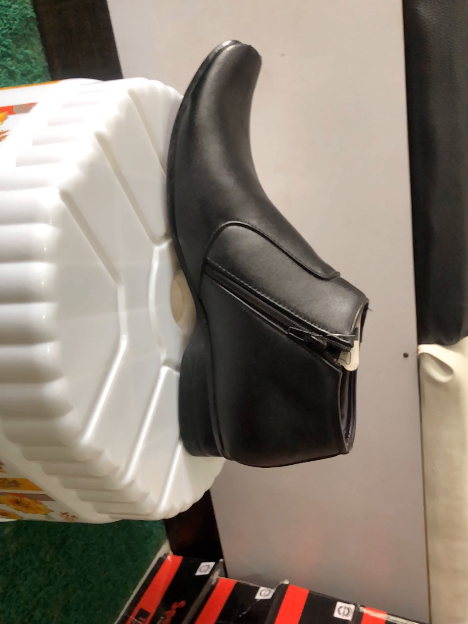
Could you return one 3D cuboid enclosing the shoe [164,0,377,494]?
[{"bbox_3d":[0.031,-0.044,0.385,0.121,0.119,0.310,14,74,-68],"label":"shoe"}]
